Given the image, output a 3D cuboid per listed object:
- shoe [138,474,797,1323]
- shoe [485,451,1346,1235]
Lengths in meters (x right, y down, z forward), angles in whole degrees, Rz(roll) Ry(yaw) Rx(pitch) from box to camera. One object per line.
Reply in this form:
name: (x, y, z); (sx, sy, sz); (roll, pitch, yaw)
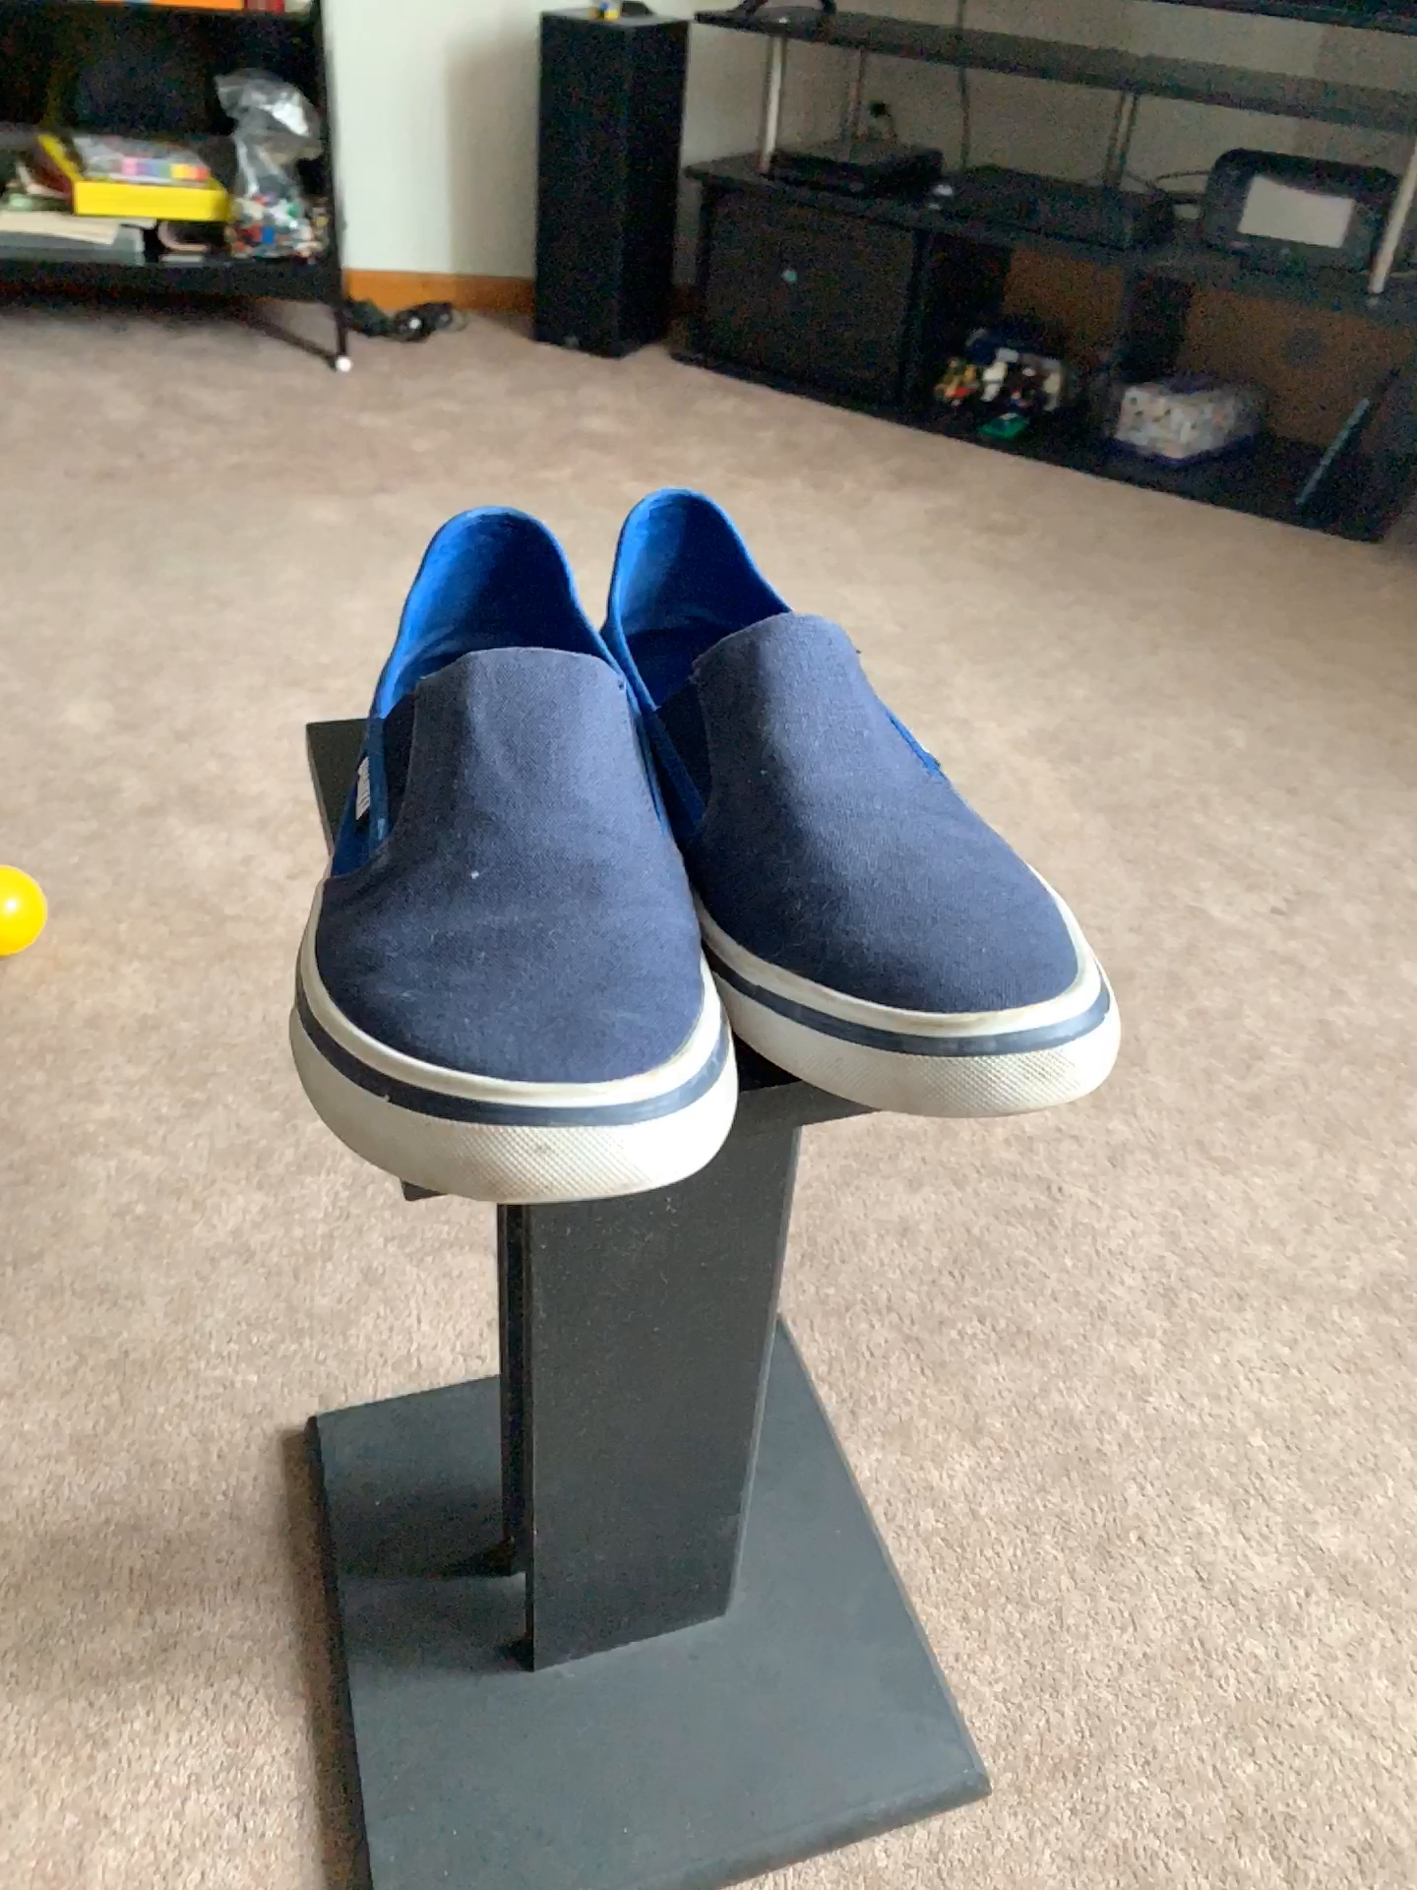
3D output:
shoe: (-0.063, -0.042, 0.413); (0.120, 0.079, 0.303); (0, 36, -8)
shoe: (0.030, -0.060, 0.446); (0.120, 0.079, 0.302); (-10, 38, -20)
